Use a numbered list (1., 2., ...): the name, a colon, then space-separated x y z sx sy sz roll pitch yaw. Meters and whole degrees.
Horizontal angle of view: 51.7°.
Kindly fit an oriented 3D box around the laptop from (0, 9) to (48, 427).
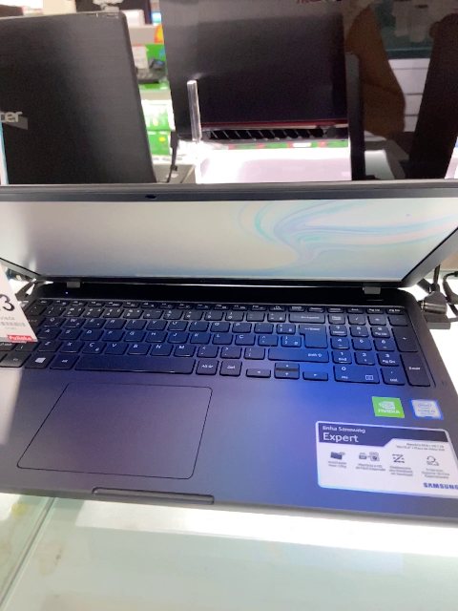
1. laptop: -0.442 -0.113 0.430 0.368 0.240 0.333 1 31 9

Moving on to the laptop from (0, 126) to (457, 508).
1. laptop: -0.033 -0.021 0.327 0.365 0.146 0.232 1 30 7
